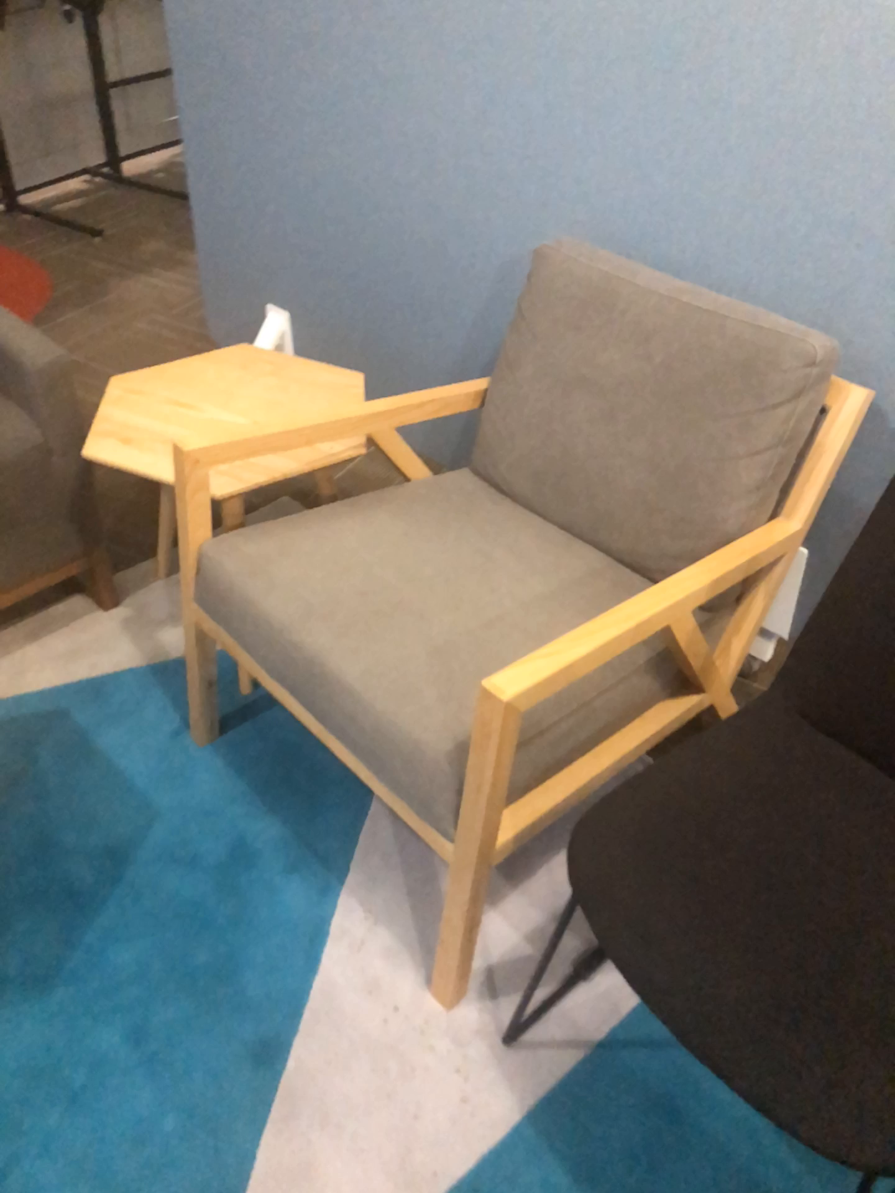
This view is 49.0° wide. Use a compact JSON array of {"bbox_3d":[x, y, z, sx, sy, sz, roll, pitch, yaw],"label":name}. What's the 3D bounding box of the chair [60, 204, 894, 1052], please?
[{"bbox_3d":[0.055,-0.035,1.488,0.845,0.743,0.712,-29,49,-32],"label":"chair"}]
